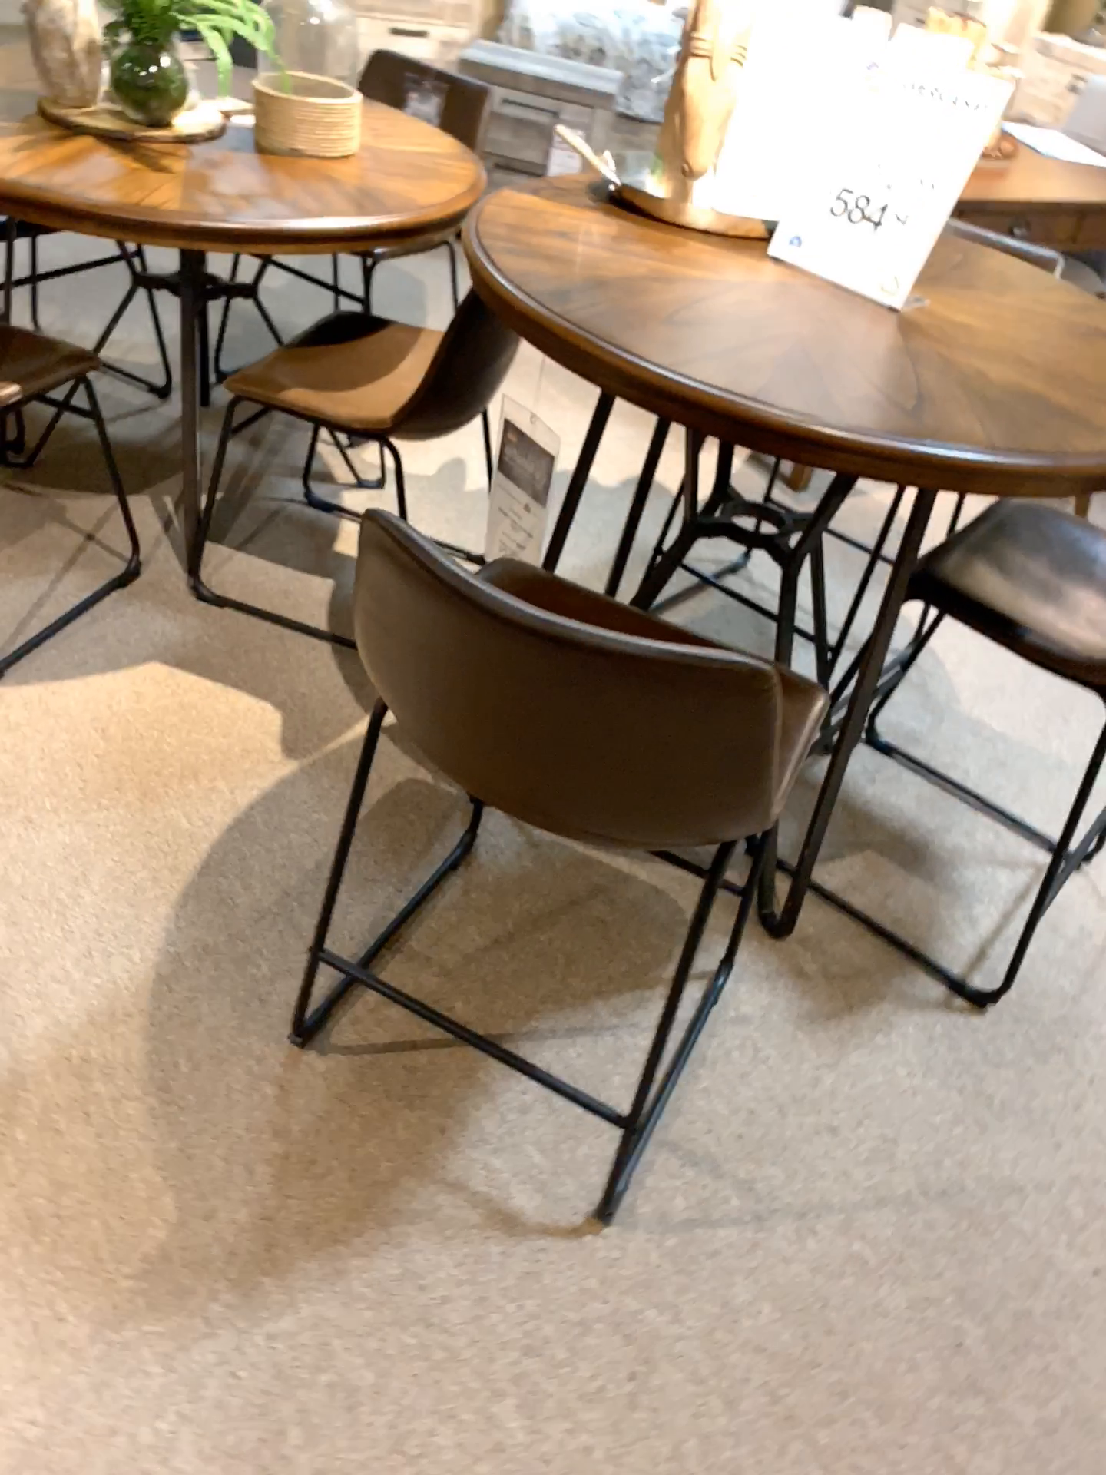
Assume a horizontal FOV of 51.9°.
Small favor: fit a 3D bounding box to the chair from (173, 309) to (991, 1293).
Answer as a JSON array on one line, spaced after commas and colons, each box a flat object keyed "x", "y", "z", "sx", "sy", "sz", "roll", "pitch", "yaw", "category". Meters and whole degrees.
[{"x": 0.009, "y": 0.058, "z": 1.338, "sx": 0.600, "sy": 0.806, "sz": 0.583, "roll": 25, "pitch": 40, "yaw": 15, "category": "chair"}]
